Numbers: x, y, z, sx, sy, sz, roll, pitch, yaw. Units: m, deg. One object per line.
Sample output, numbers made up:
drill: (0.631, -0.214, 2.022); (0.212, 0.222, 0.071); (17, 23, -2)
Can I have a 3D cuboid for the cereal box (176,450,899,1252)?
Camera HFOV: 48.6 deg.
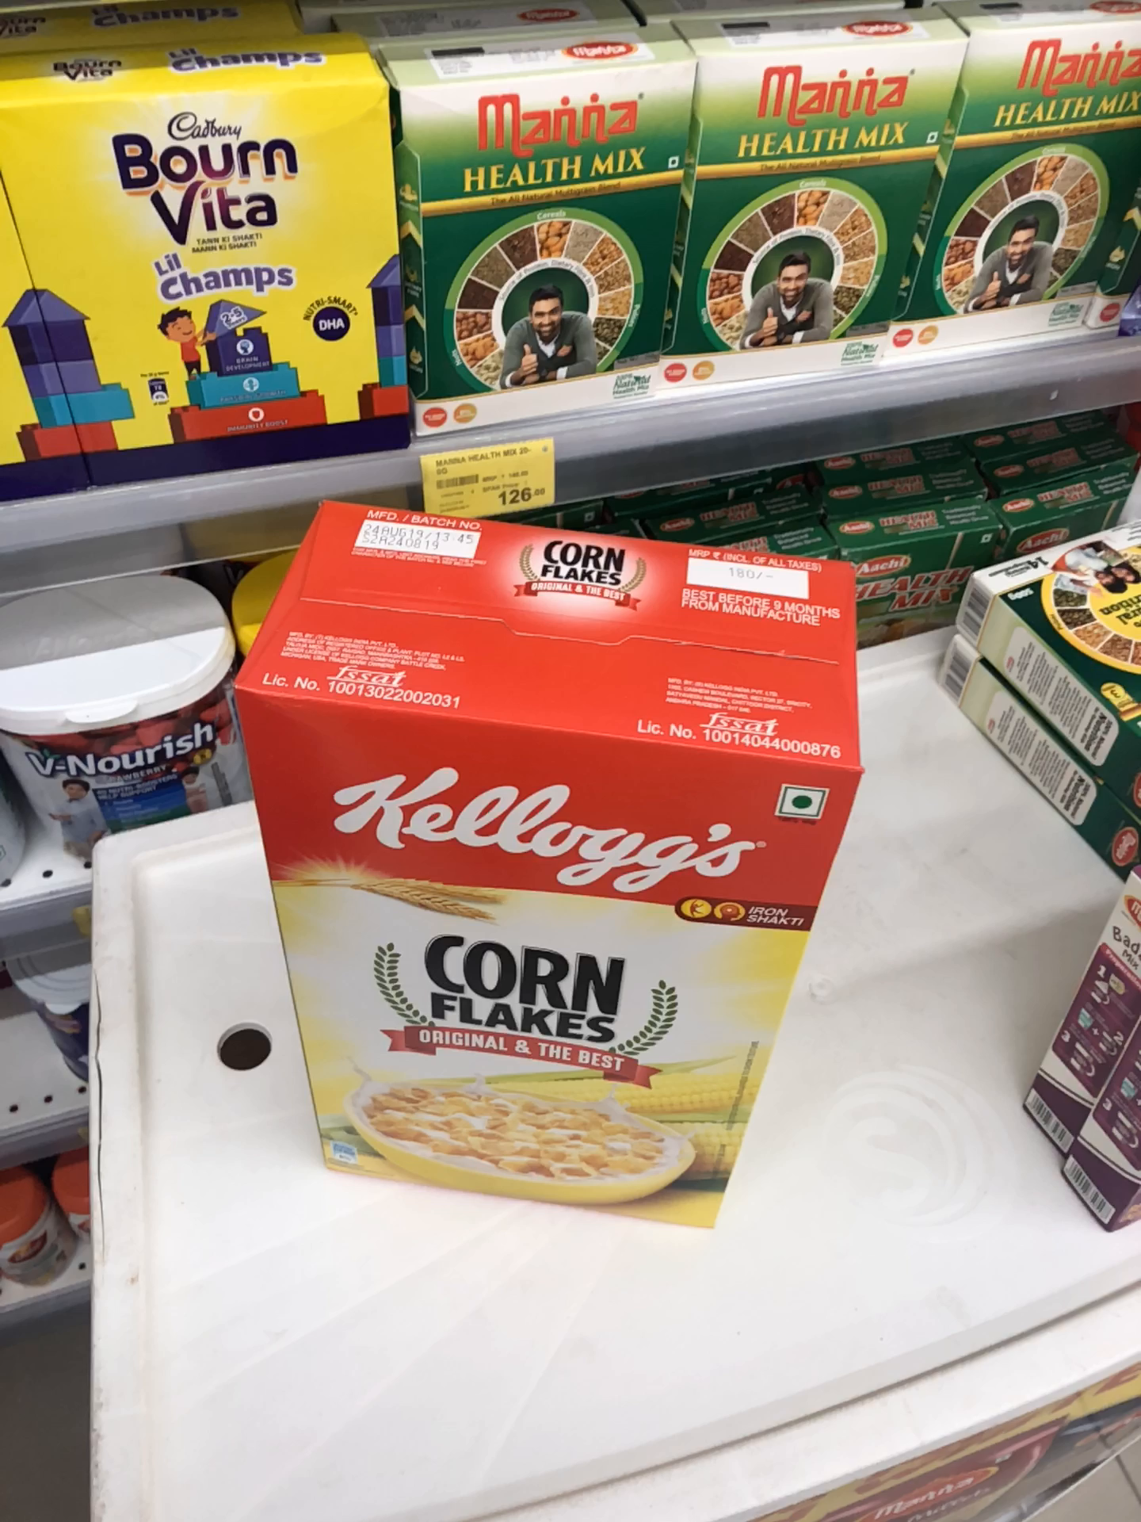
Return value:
cereal box: (-0.008, 0.060, 0.502); (0.200, 0.329, 0.110); (8, 48, 5)
